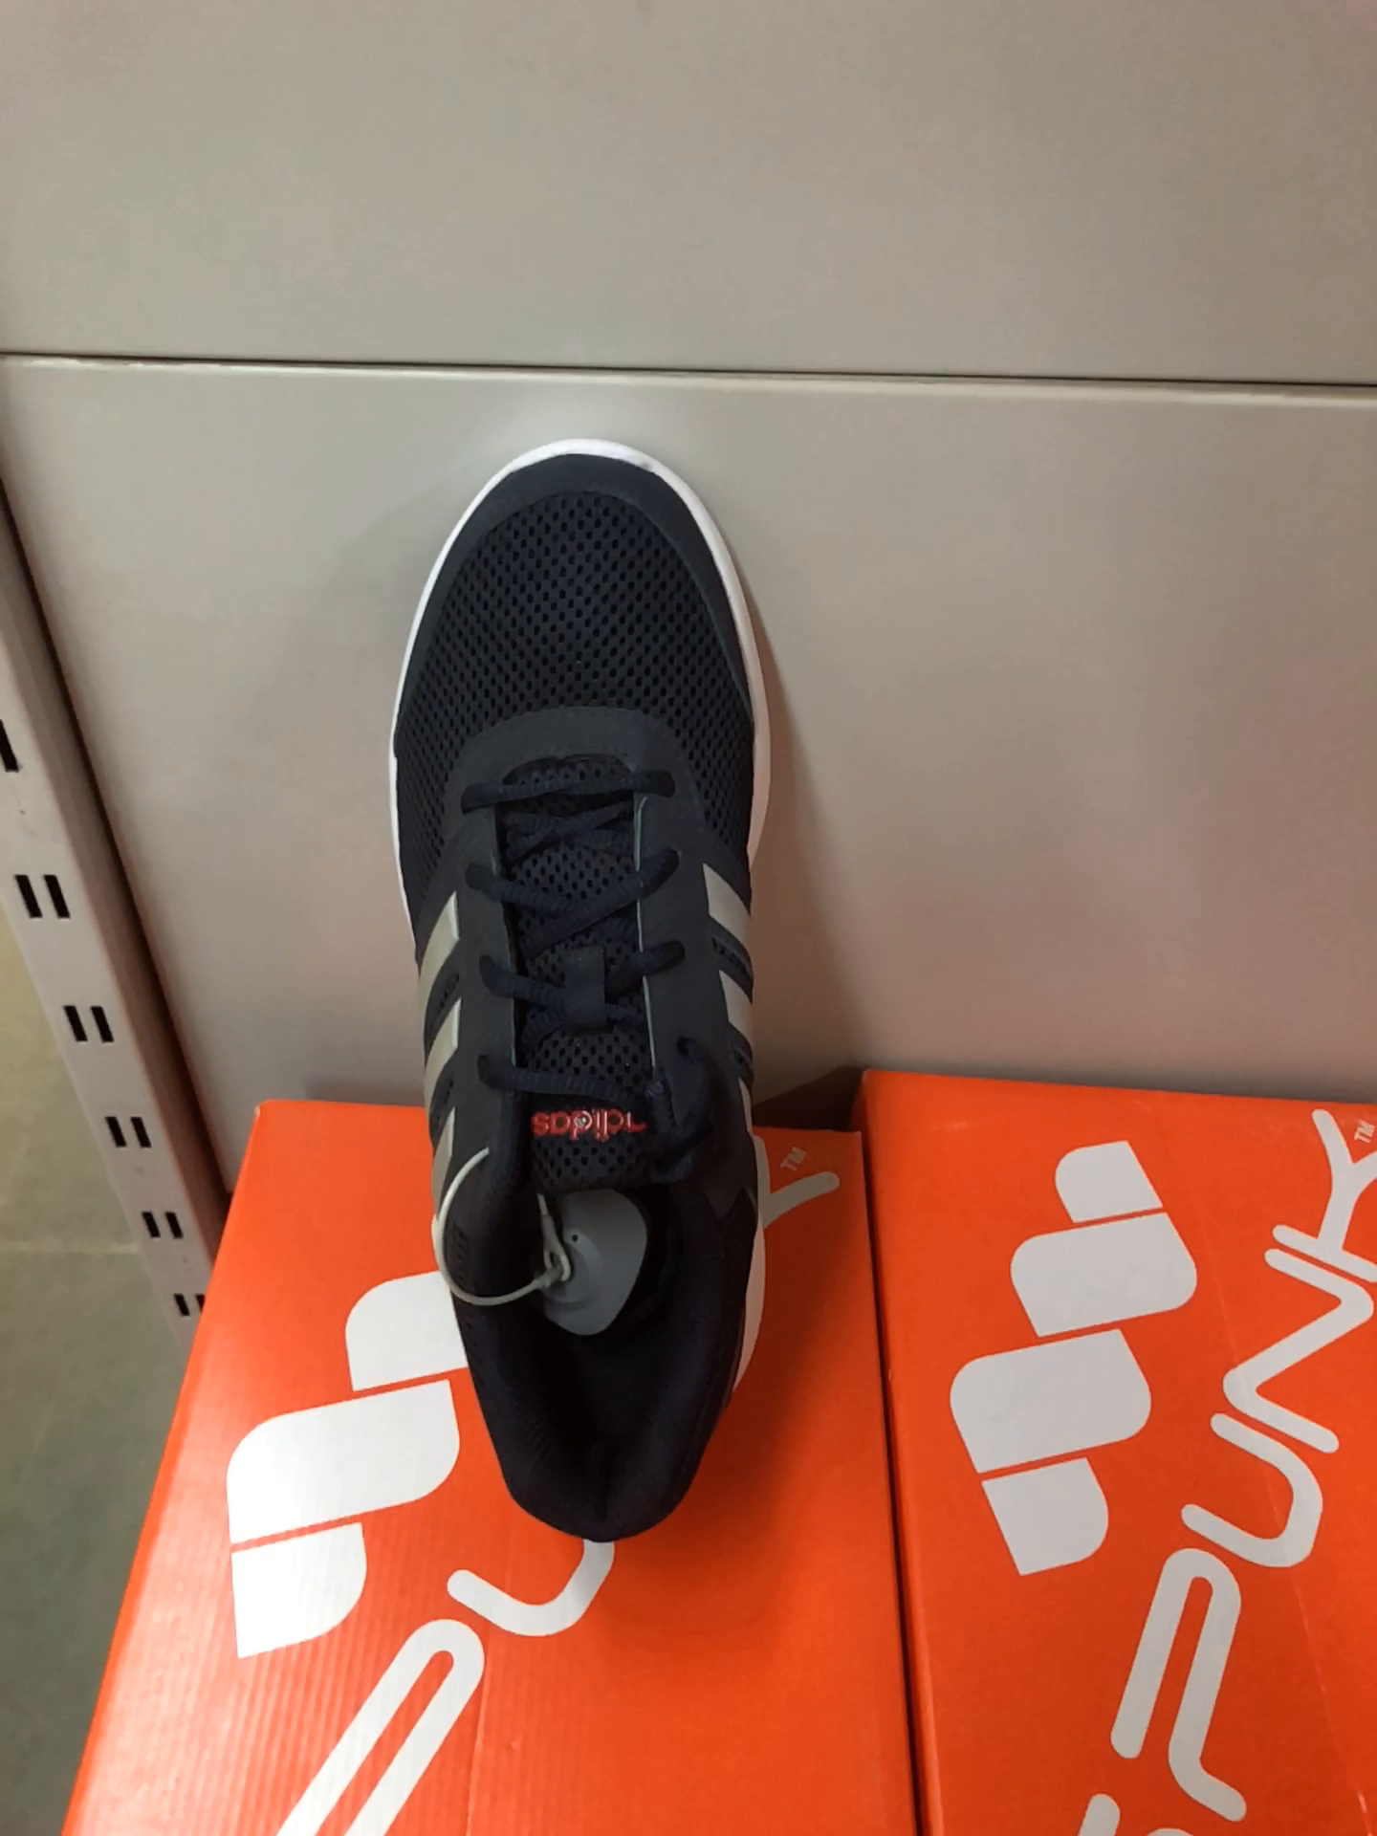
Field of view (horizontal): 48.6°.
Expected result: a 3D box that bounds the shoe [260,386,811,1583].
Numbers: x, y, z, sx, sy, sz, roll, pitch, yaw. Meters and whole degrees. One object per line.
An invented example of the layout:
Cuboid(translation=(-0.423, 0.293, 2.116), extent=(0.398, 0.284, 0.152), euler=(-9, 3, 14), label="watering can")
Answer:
Cuboid(translation=(-0.030, 0.017, 0.391), extent=(0.110, 0.271, 0.088), euler=(-3, 6, 4), label="shoe")
